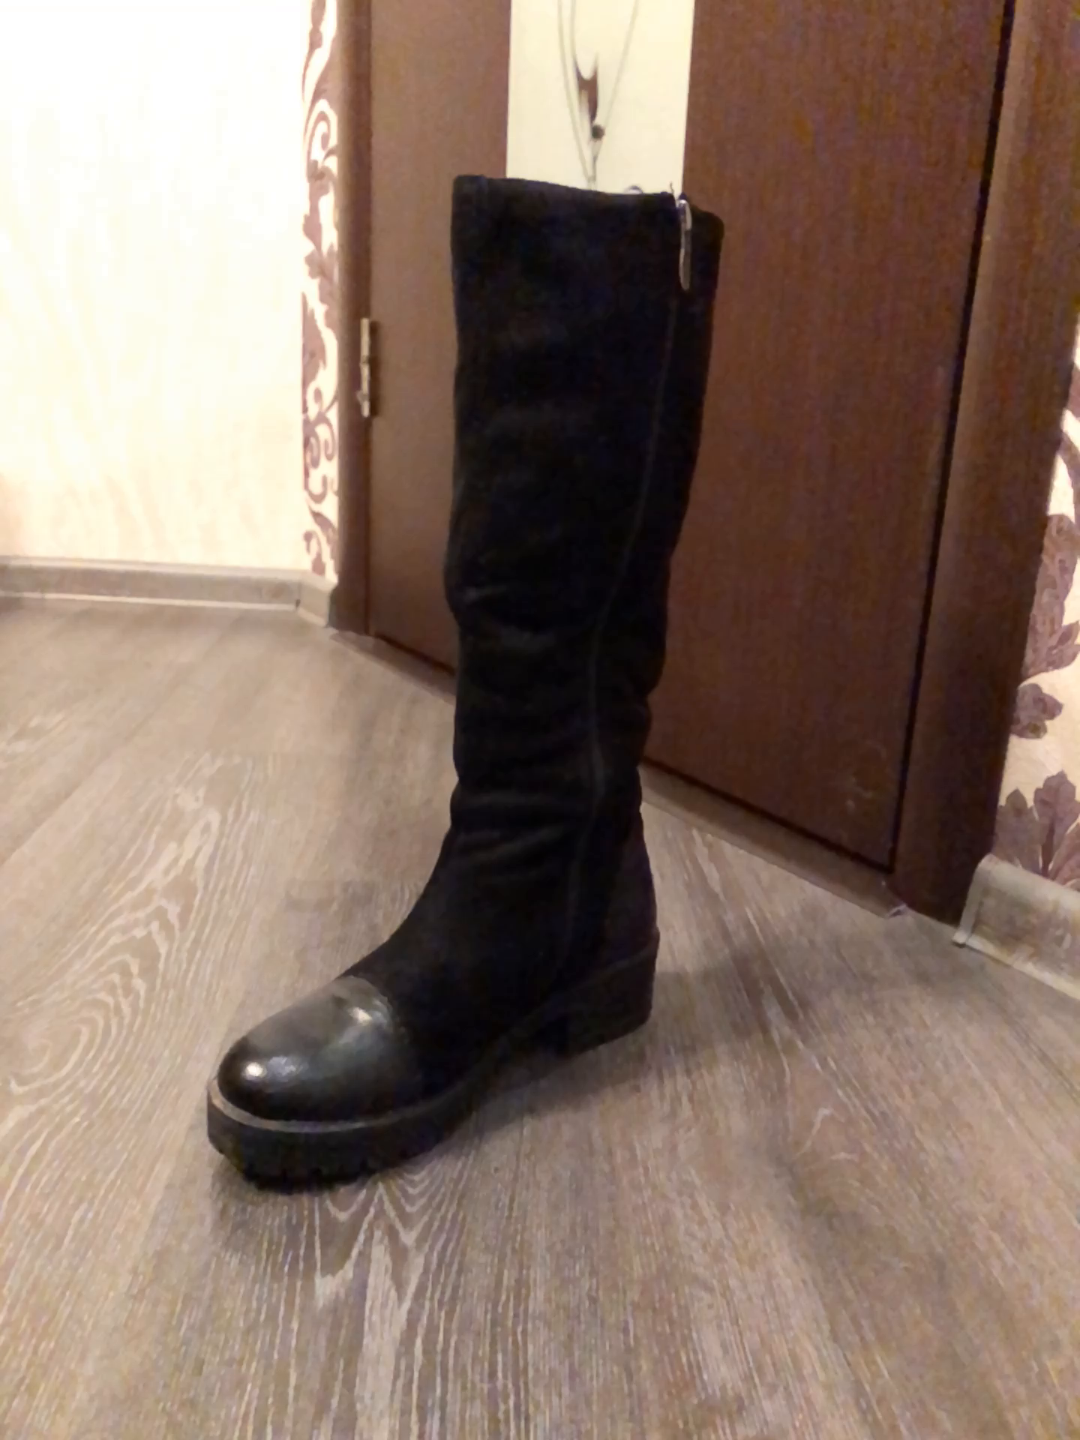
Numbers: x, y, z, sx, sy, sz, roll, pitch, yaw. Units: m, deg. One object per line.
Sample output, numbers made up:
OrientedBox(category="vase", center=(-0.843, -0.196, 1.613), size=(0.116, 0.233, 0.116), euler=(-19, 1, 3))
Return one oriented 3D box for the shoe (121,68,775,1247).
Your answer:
OrientedBox(category="shoe", center=(-0.030, -0.027, 0.522), size=(0.100, 0.408, 0.251), euler=(18, 22, 42))
